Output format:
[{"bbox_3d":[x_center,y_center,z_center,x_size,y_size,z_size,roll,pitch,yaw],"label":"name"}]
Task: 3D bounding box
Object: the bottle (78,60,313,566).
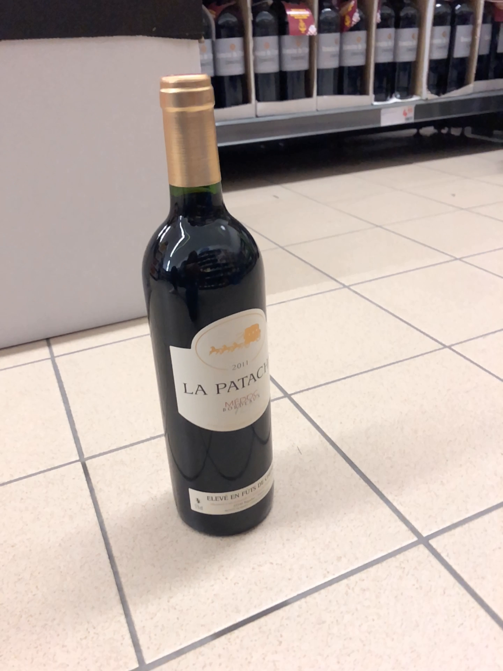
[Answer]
[{"bbox_3d":[-0.023,-0.007,0.344,0.090,0.288,0.080,-19,31,-29],"label":"bottle"}]
